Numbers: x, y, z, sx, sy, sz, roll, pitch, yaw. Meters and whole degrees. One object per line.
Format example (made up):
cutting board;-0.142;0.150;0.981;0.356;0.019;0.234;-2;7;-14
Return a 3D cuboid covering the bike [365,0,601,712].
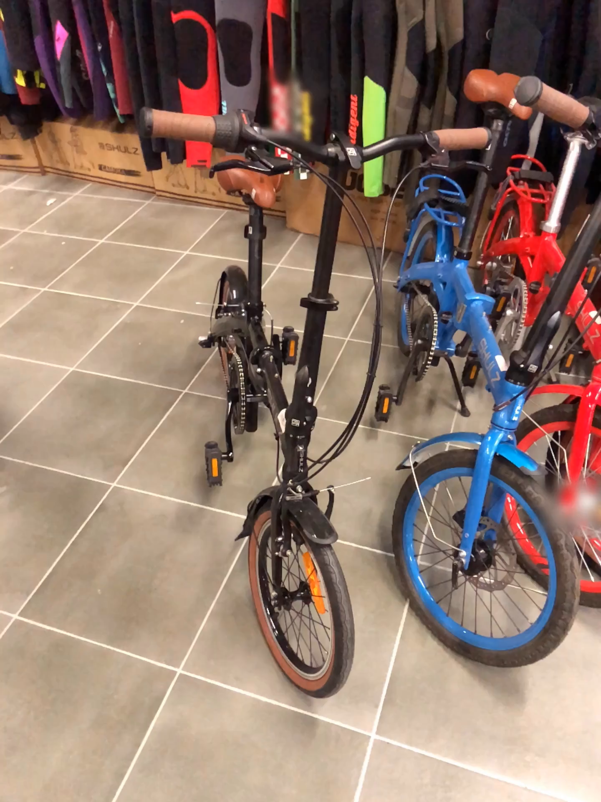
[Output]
bike;0.537;-0.251;1.526;0.567;1.029;1.380;-4;41;-1

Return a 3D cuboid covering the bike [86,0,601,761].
bike;-0.040;-0.188;1.433;0.564;1.057;1.280;-11;39;-10
